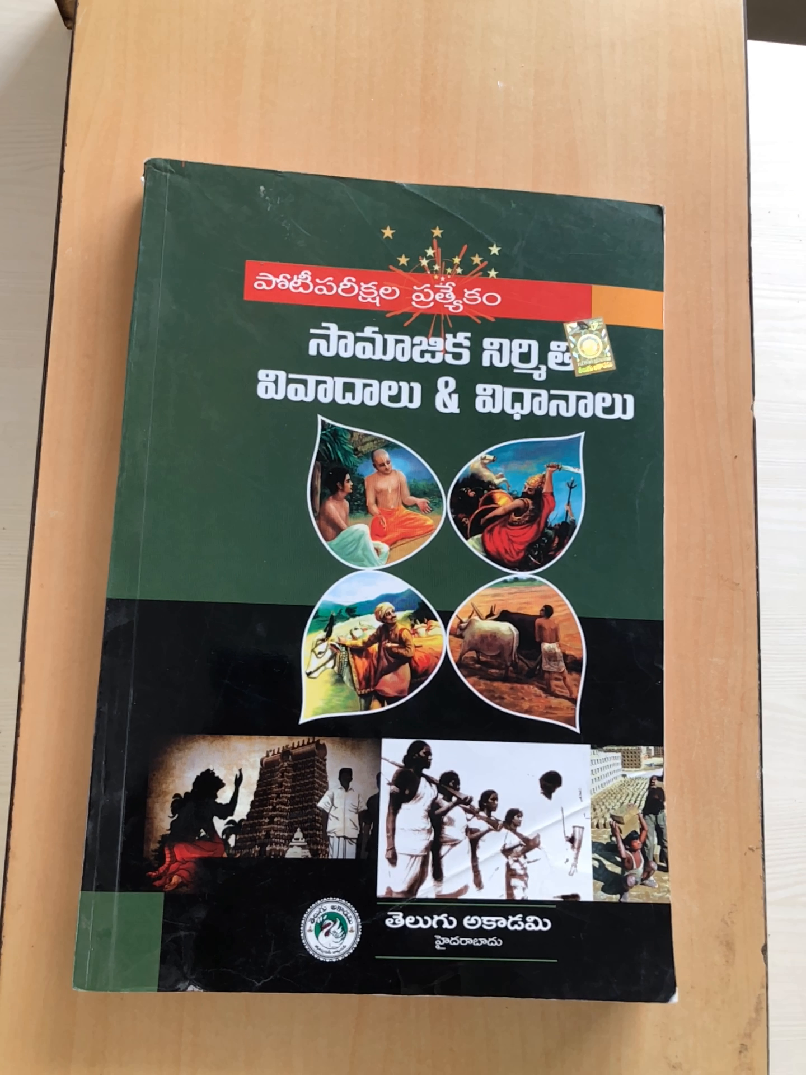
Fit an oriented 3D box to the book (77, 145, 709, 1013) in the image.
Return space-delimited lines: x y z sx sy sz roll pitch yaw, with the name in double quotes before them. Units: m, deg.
"book" 0.002 0.011 0.312 0.190 0.050 0.270 3 82 -6
